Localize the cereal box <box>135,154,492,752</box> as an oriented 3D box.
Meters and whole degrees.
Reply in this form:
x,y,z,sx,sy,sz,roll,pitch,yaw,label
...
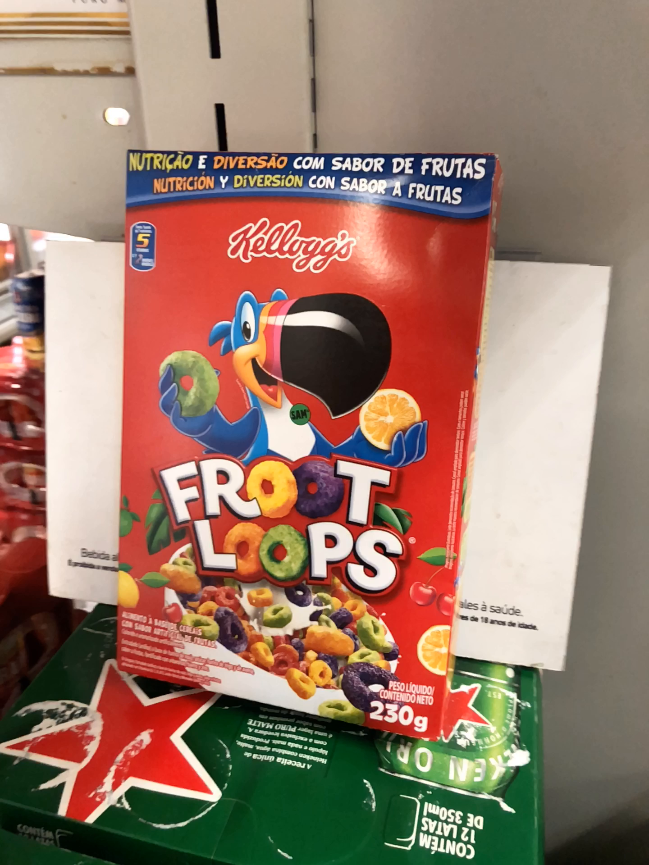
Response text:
x,y,z,sx,sy,sz,roll,pitch,yaw,label
-0.008,0.005,0.355,0.150,0.259,0.060,6,9,15,cereal box
